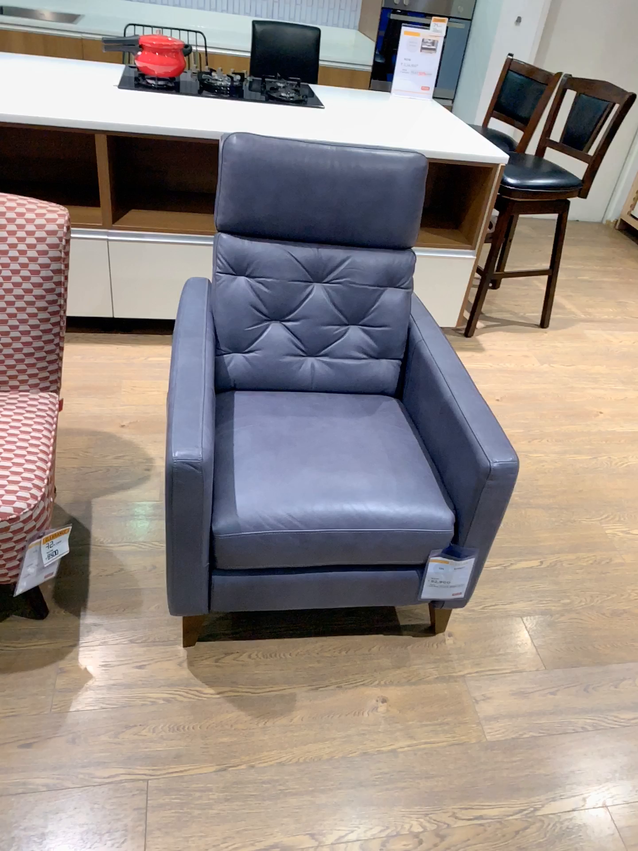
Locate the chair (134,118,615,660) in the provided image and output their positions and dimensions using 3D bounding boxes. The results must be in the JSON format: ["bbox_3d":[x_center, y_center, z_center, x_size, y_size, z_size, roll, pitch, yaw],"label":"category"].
[{"bbox_3d":[-0.005,-0.099,1.633,0.770,0.996,0.853,1,37,-10],"label":"chair"}]
